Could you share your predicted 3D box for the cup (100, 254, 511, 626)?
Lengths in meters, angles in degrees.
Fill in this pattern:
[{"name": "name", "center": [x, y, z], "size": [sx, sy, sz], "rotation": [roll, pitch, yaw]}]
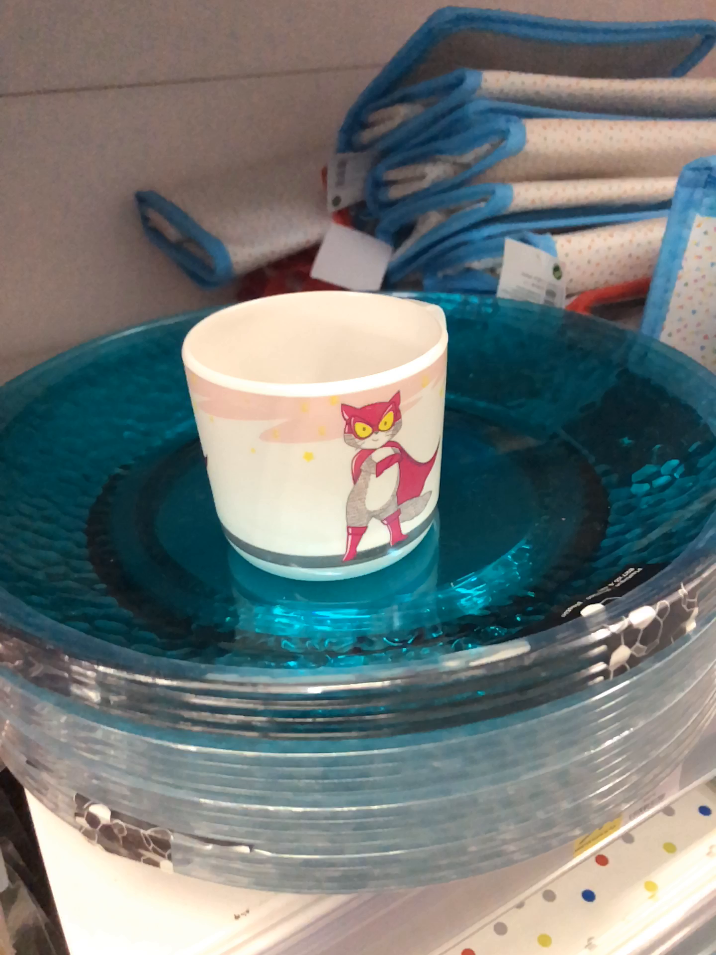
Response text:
[{"name": "cup", "center": [-0.008, -0.021, 0.247], "size": [0.075, 0.064, 0.103], "rotation": [14, 34, 27]}]
